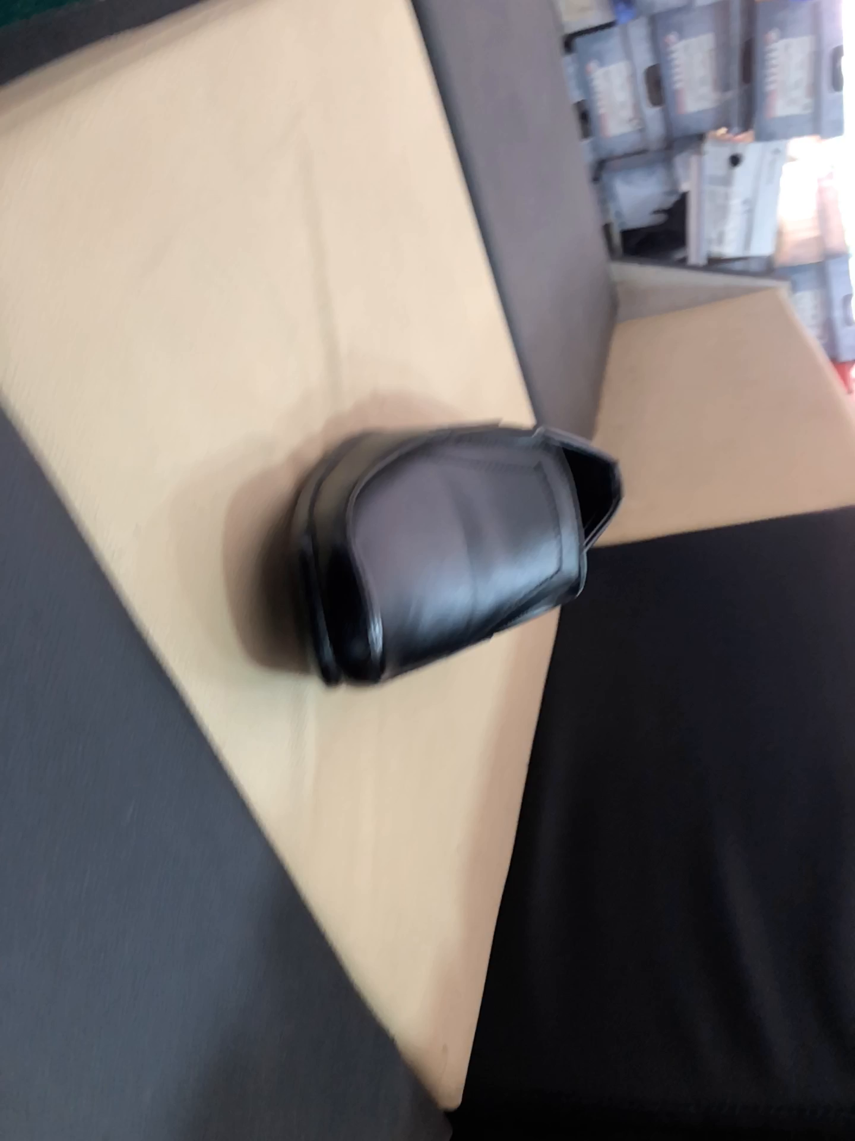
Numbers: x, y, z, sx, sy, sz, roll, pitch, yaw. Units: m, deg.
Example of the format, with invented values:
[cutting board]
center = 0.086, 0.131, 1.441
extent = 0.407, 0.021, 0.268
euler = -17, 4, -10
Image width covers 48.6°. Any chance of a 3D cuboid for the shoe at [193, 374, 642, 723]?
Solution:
[shoe]
center = 0.025, -0.030, 0.452
extent = 0.292, 0.099, 0.100
euler = -32, 114, -66
